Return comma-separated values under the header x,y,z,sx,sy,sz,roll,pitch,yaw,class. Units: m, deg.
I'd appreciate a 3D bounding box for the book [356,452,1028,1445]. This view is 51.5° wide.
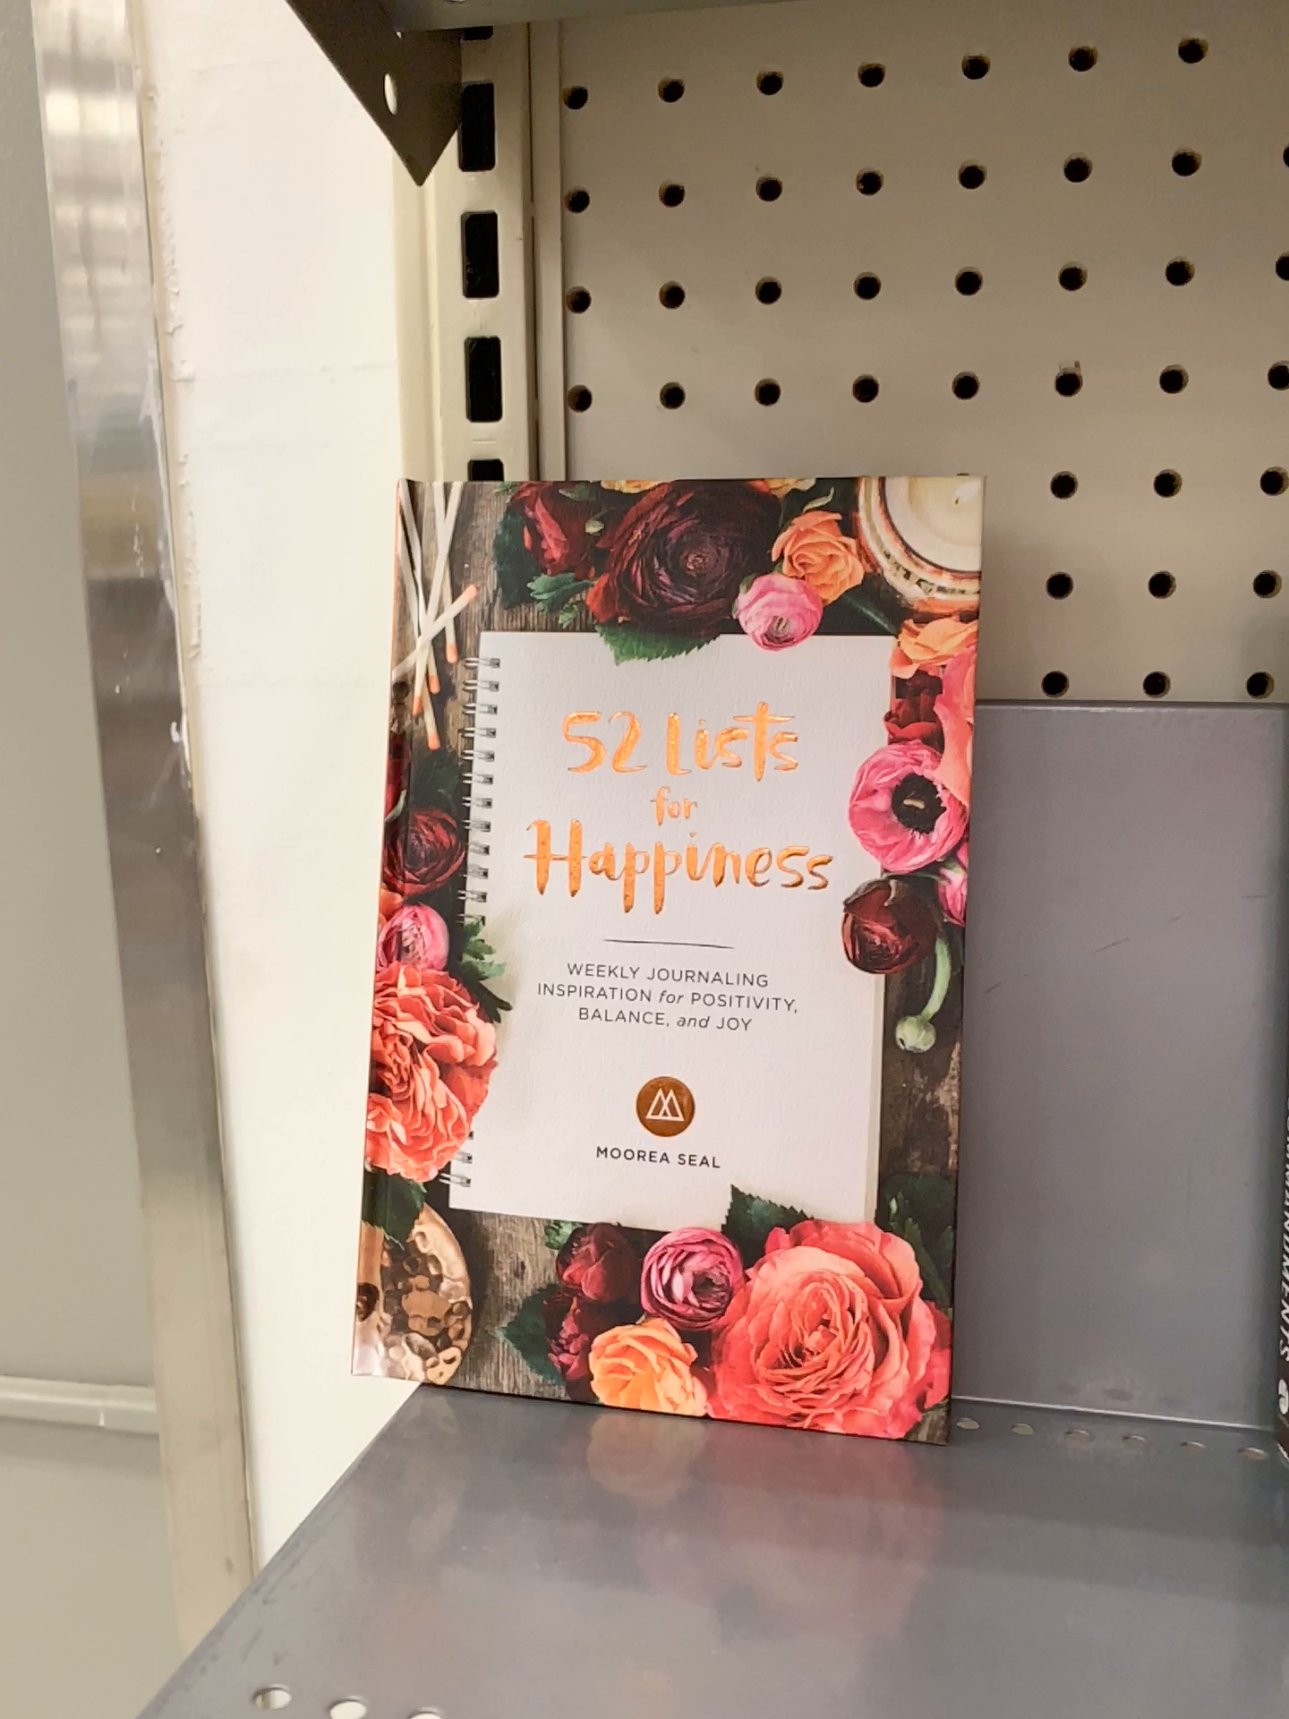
x,y,z,sx,sy,sz,roll,pitch,yaw,class
0.010,0.016,0.316,0.150,0.217,0.020,1,-2,12,book
